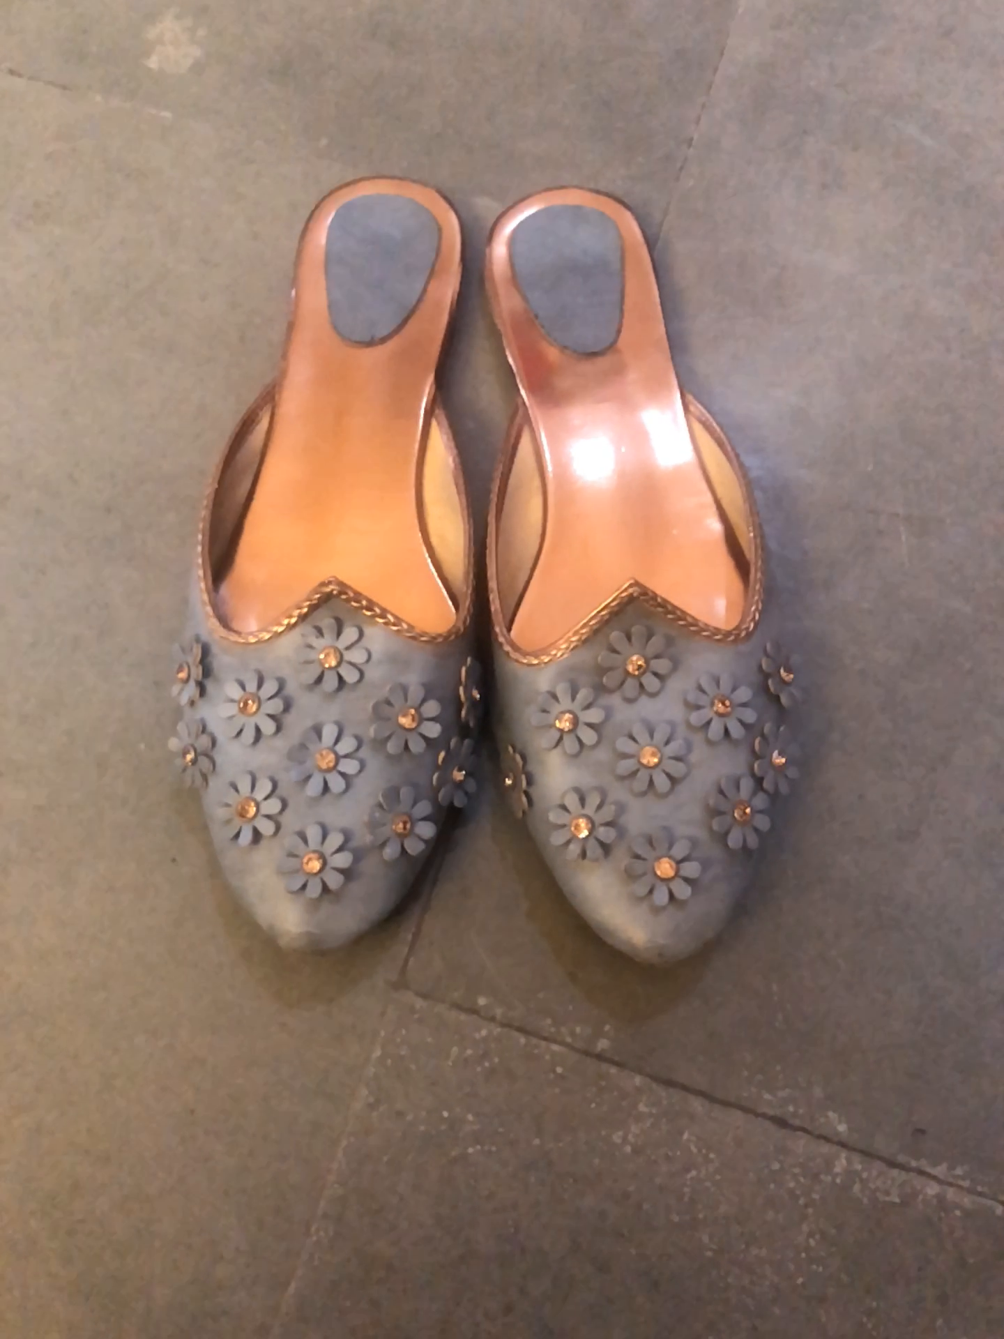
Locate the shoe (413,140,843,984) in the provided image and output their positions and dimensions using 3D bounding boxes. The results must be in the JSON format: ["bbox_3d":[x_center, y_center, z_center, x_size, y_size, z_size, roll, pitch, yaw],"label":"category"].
[{"bbox_3d":[0.031,-0.043,0.364,0.100,0.050,0.270,-4,71,-1],"label":"shoe"}]

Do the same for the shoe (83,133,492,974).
[{"bbox_3d":[-0.057,-0.045,0.358,0.100,0.050,0.270,1,71,1],"label":"shoe"}]
